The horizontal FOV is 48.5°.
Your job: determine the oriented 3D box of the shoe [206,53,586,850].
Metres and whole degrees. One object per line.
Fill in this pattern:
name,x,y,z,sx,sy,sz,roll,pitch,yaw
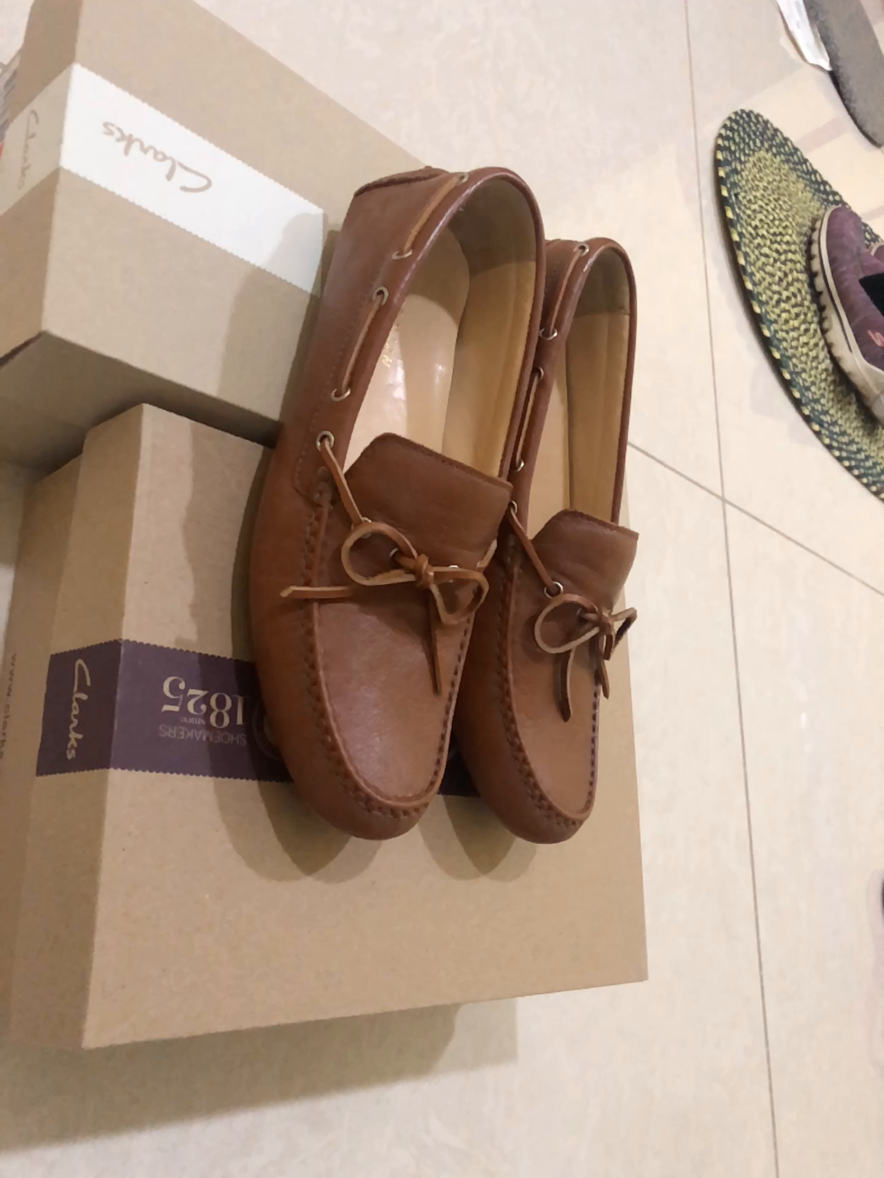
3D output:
shoe,-0.011,-0.049,0.381,0.080,0.080,0.280,21,70,-42

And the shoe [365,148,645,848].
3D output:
shoe,0.032,-0.034,0.432,0.080,0.080,0.280,14,74,-45
